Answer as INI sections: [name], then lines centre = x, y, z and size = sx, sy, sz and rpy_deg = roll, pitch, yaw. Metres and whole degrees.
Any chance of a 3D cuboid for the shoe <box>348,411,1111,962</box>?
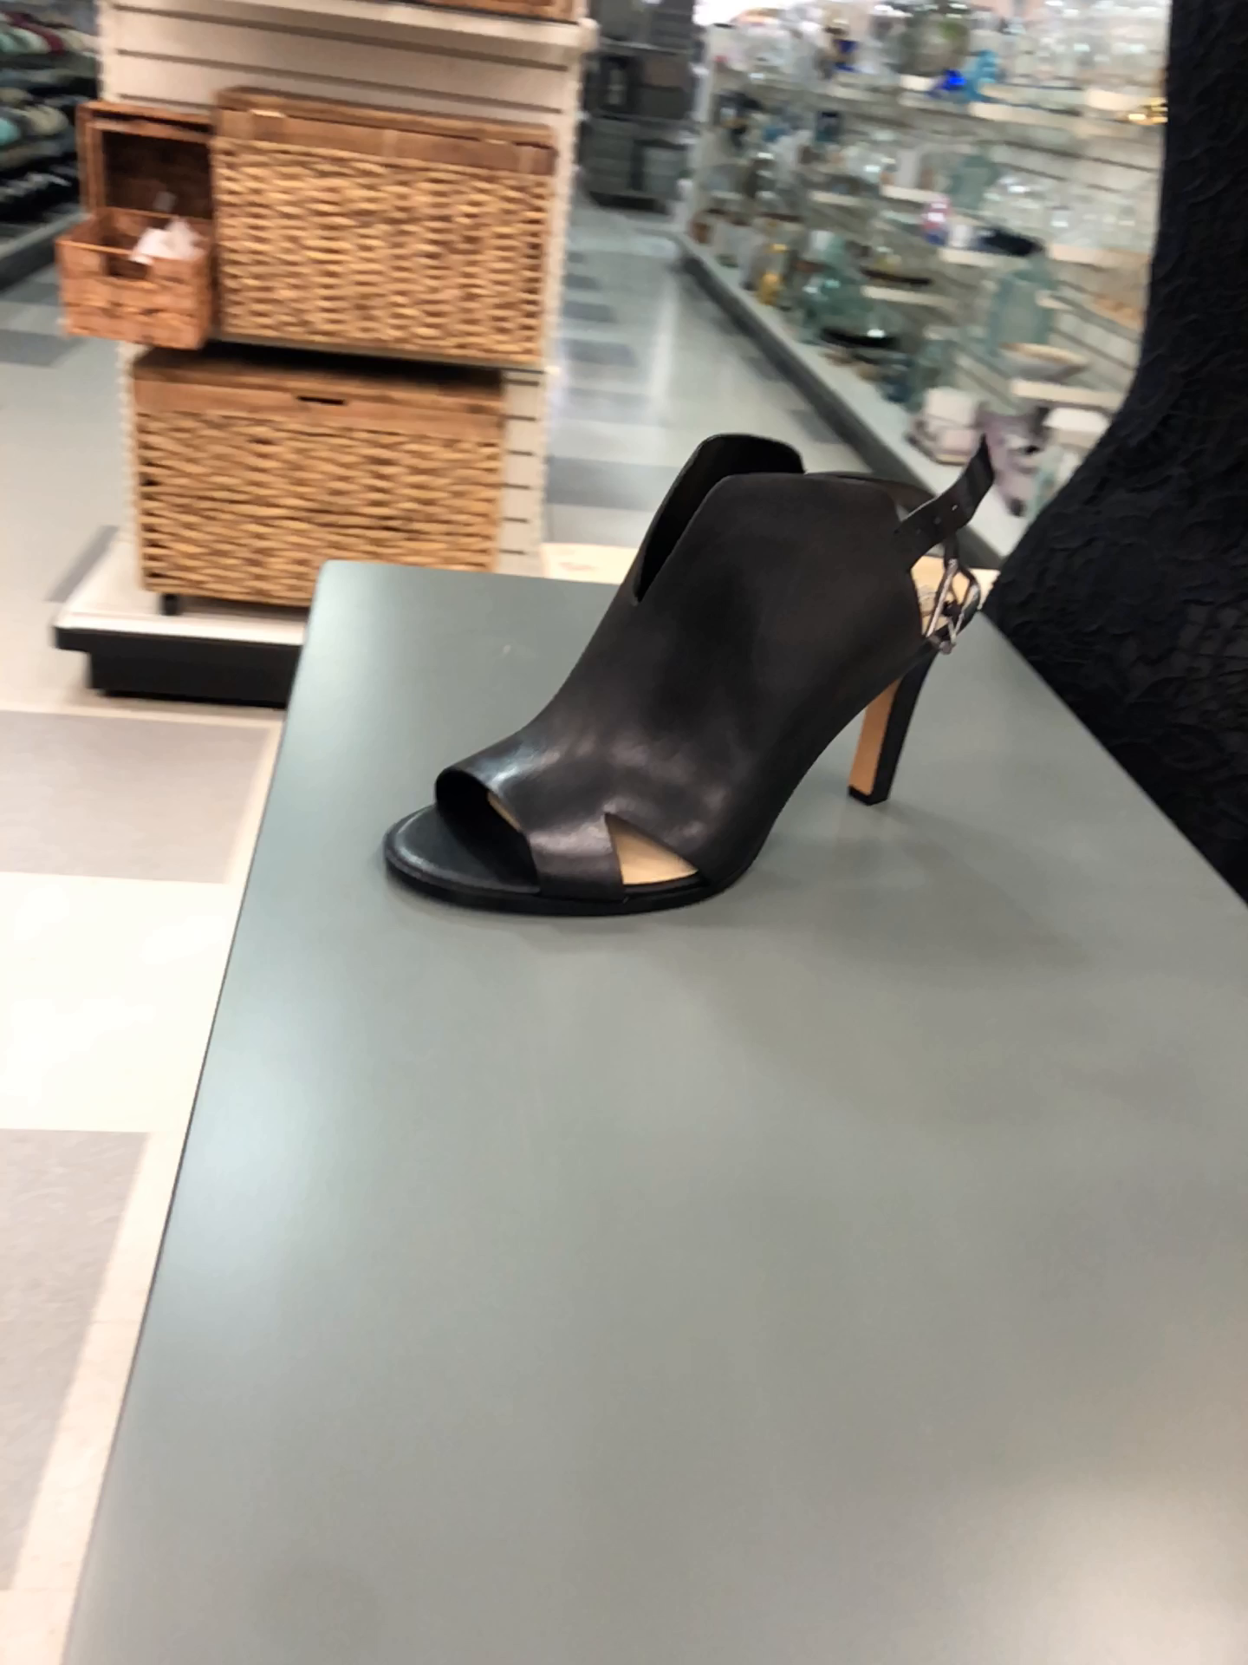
[shoe]
centre = 0.033, -0.061, 0.492
size = 0.240, 0.151, 0.092
rpy_deg = -8, 31, -26
